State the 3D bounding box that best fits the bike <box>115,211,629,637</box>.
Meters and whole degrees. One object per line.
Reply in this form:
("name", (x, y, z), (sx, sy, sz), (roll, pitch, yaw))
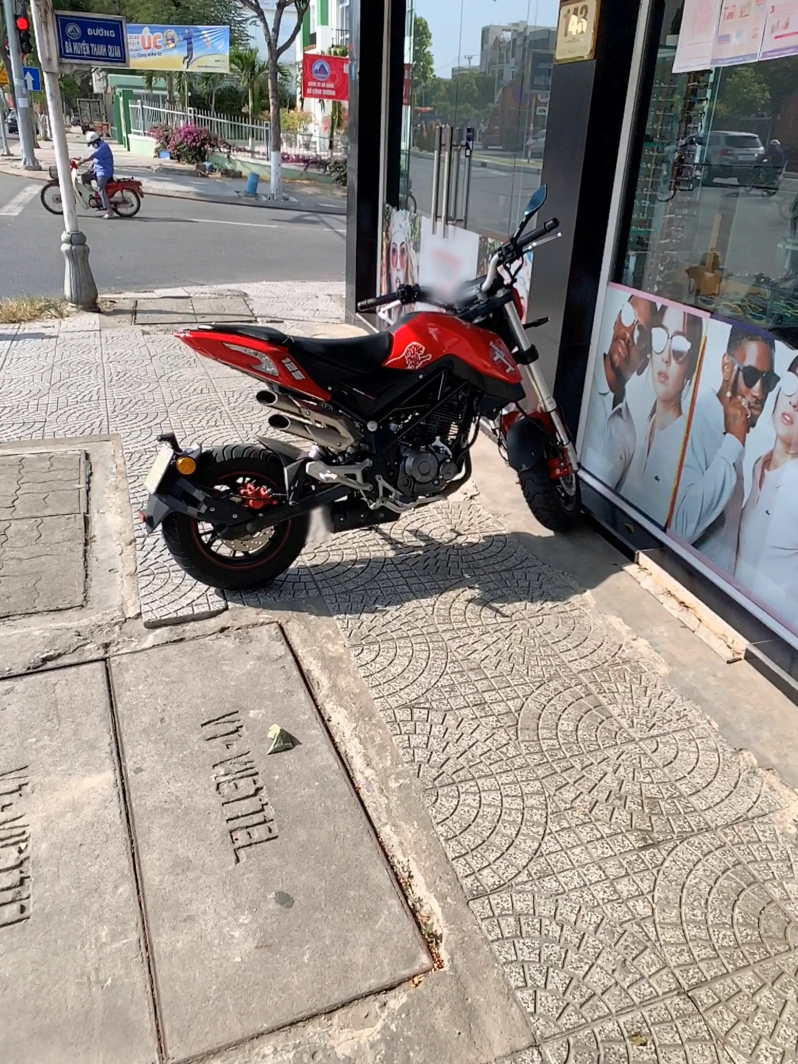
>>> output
("bike", (-0.024, -0.641, 3.385), (2.124, 1.216, 0.834), (-17, 31, -36))
